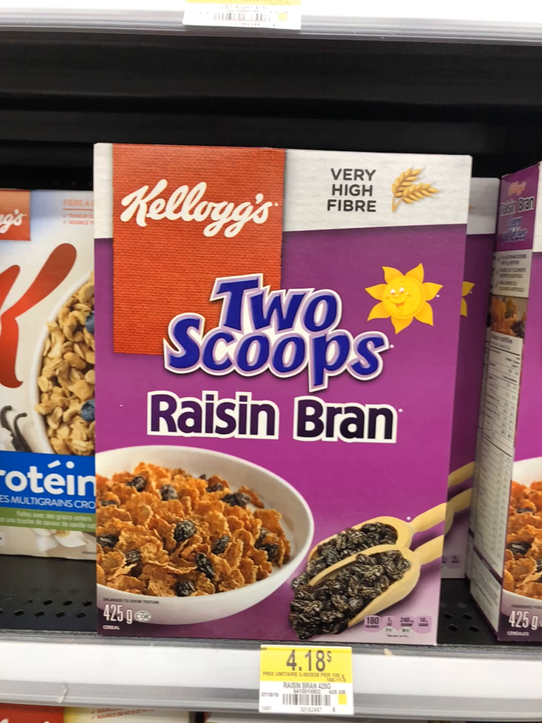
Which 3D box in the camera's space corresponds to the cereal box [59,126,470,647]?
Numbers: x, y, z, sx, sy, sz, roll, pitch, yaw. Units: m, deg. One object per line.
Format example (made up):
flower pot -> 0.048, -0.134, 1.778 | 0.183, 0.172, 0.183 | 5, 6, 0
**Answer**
cereal box -> -0.007, 0.018, 0.338 | 0.200, 0.269, 0.050 | 2, 9, -1
